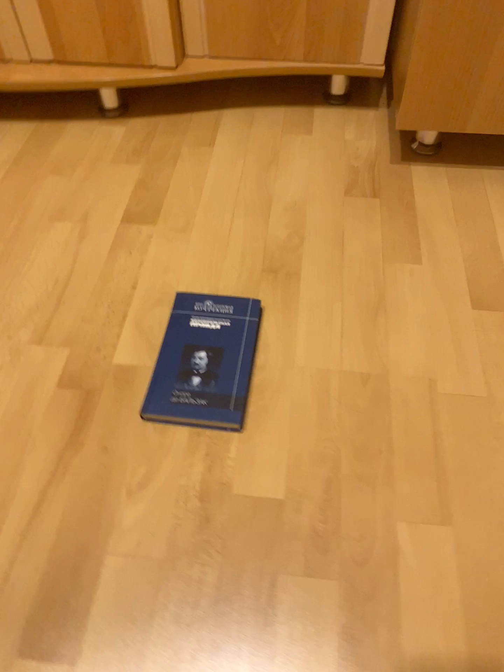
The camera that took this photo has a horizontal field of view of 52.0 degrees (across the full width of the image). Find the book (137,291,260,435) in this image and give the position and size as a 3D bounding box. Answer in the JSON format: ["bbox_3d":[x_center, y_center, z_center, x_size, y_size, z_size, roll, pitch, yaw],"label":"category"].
[{"bbox_3d":[-0.066,0.029,0.708,0.128,0.030,0.201,5,54,6],"label":"book"}]
